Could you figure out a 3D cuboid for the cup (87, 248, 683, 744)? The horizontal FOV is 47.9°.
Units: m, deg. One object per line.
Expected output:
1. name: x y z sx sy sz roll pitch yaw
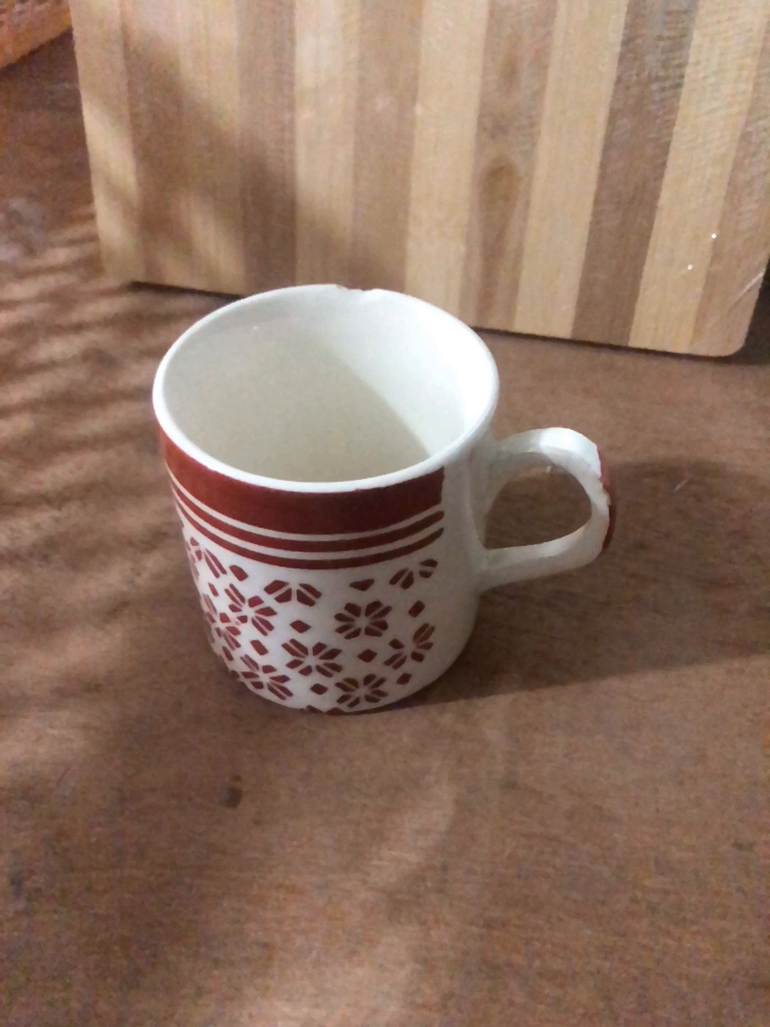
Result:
1. cup: 0.003 -0.005 0.180 0.090 0.070 0.070 3 45 4
